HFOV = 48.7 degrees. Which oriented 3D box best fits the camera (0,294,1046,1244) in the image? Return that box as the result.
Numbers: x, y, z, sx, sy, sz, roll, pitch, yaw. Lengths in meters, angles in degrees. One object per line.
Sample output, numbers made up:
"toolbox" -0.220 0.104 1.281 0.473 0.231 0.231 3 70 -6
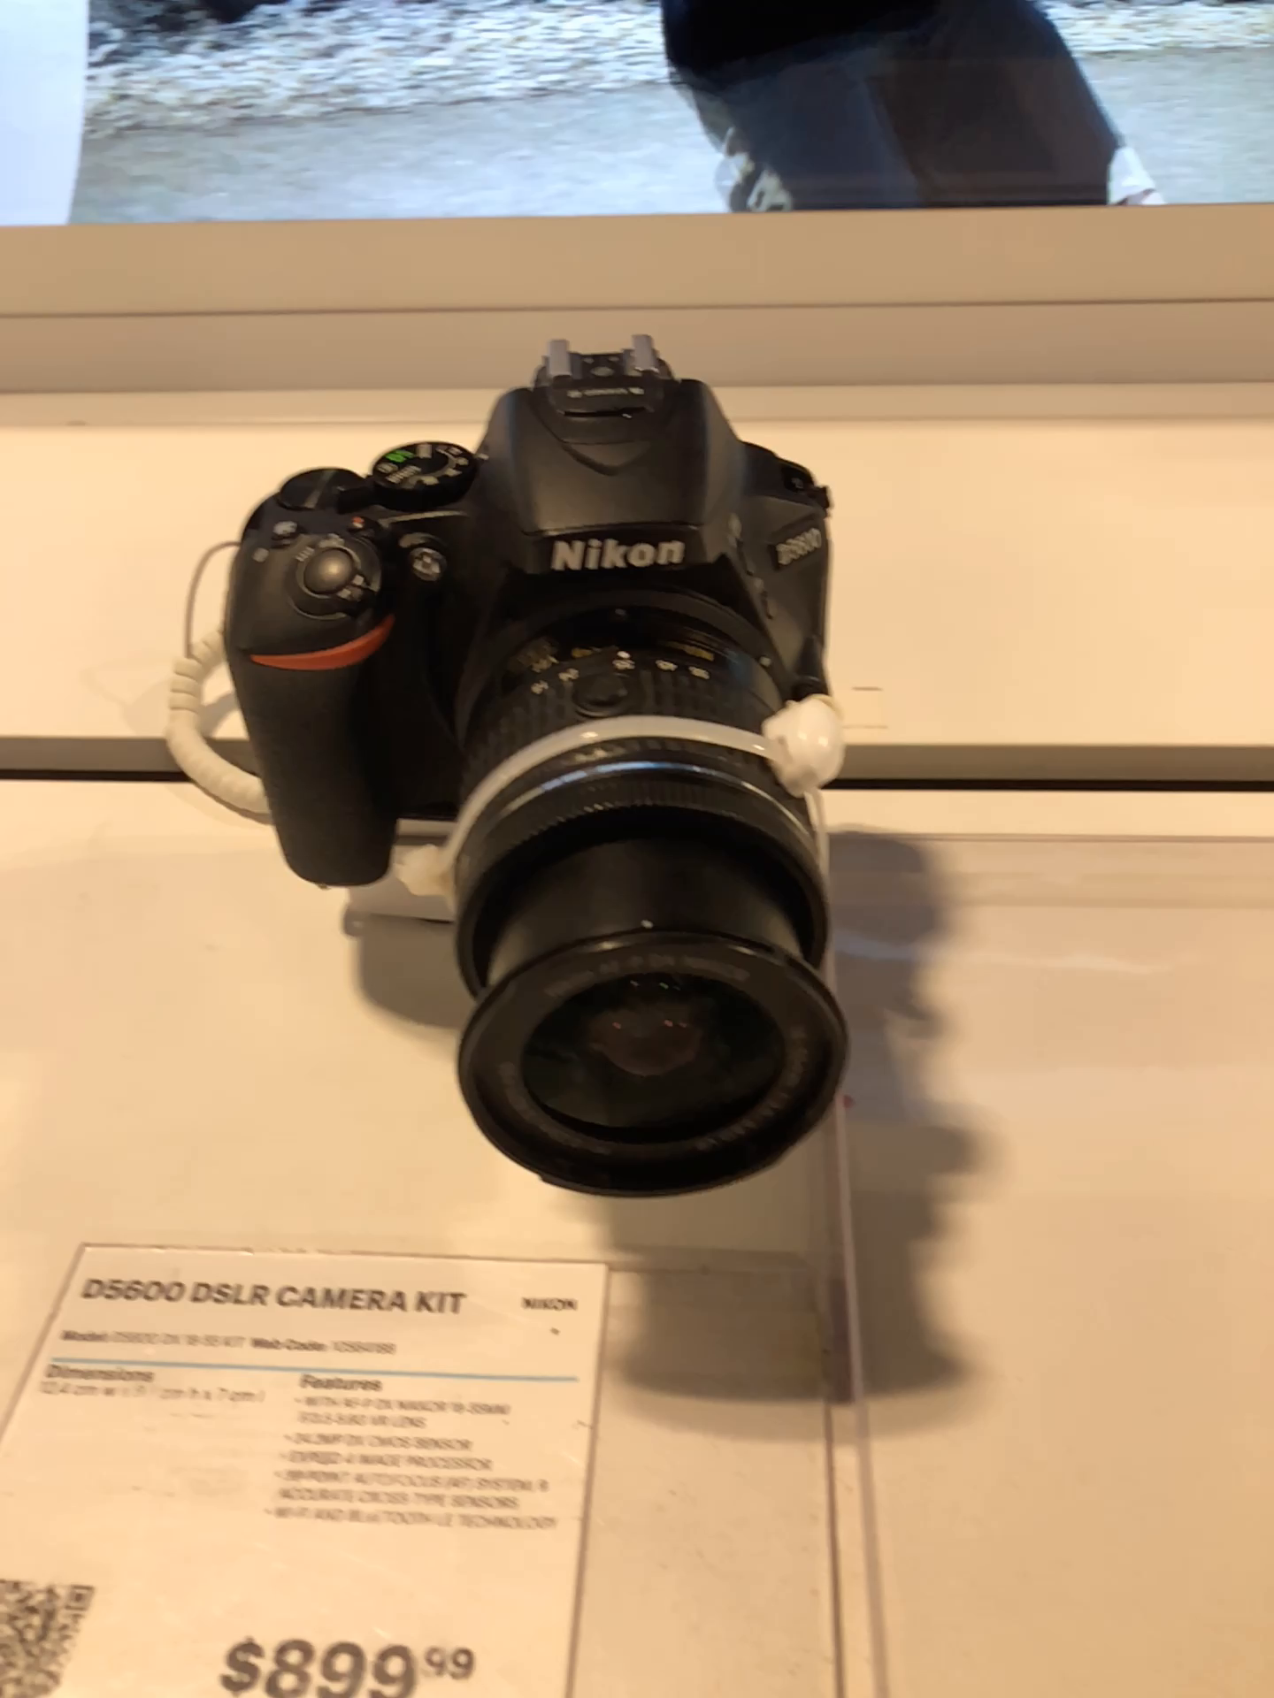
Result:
"camera" -0.018 -0.025 0.251 0.130 0.089 0.151 -4 39 0
